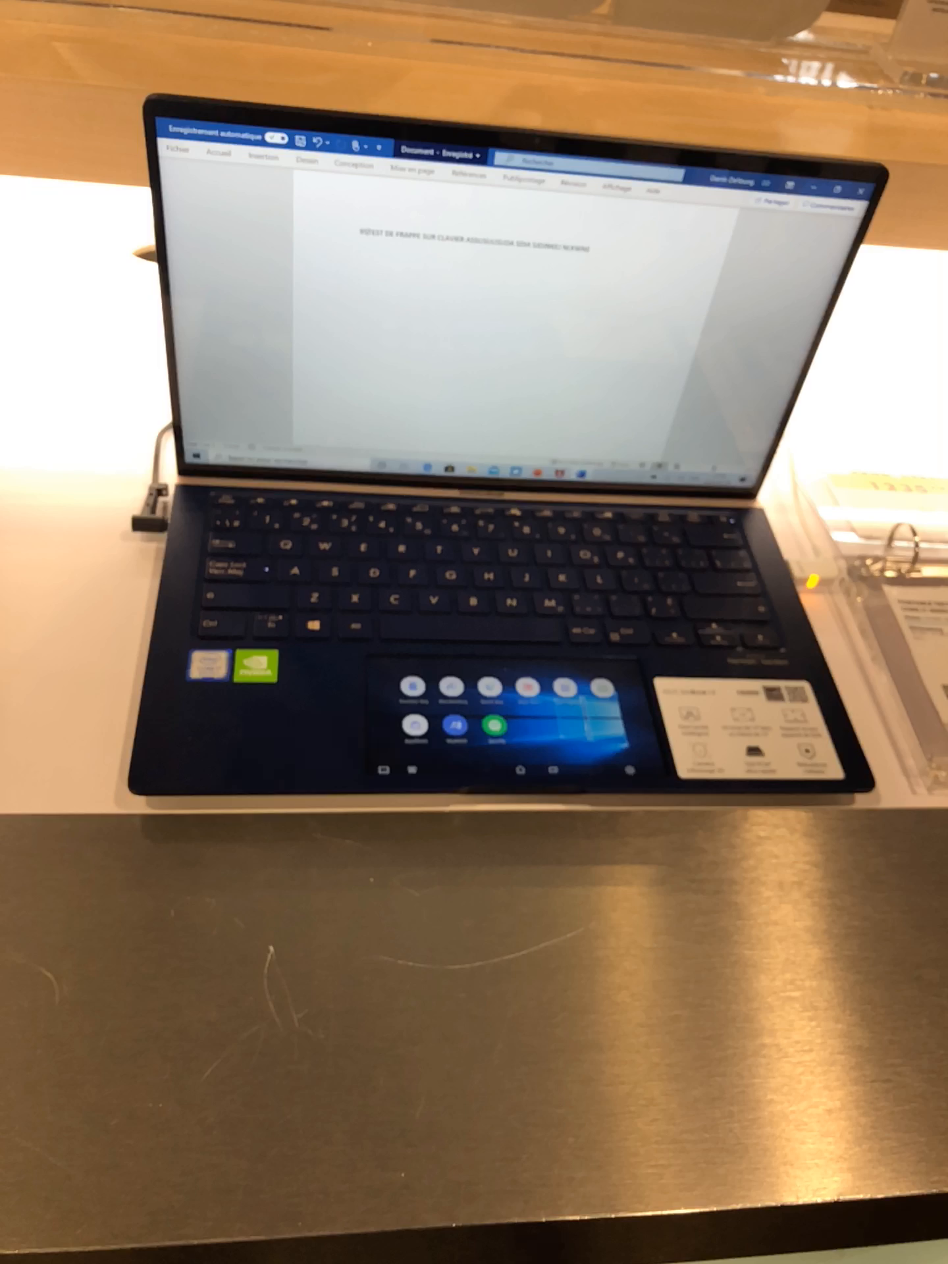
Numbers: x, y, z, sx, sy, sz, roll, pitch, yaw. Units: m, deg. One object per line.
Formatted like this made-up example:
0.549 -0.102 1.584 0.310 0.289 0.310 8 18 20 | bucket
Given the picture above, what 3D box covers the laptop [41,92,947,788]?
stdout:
0.022 -0.072 0.437 0.317 0.193 0.200 1 47 -9 | laptop
